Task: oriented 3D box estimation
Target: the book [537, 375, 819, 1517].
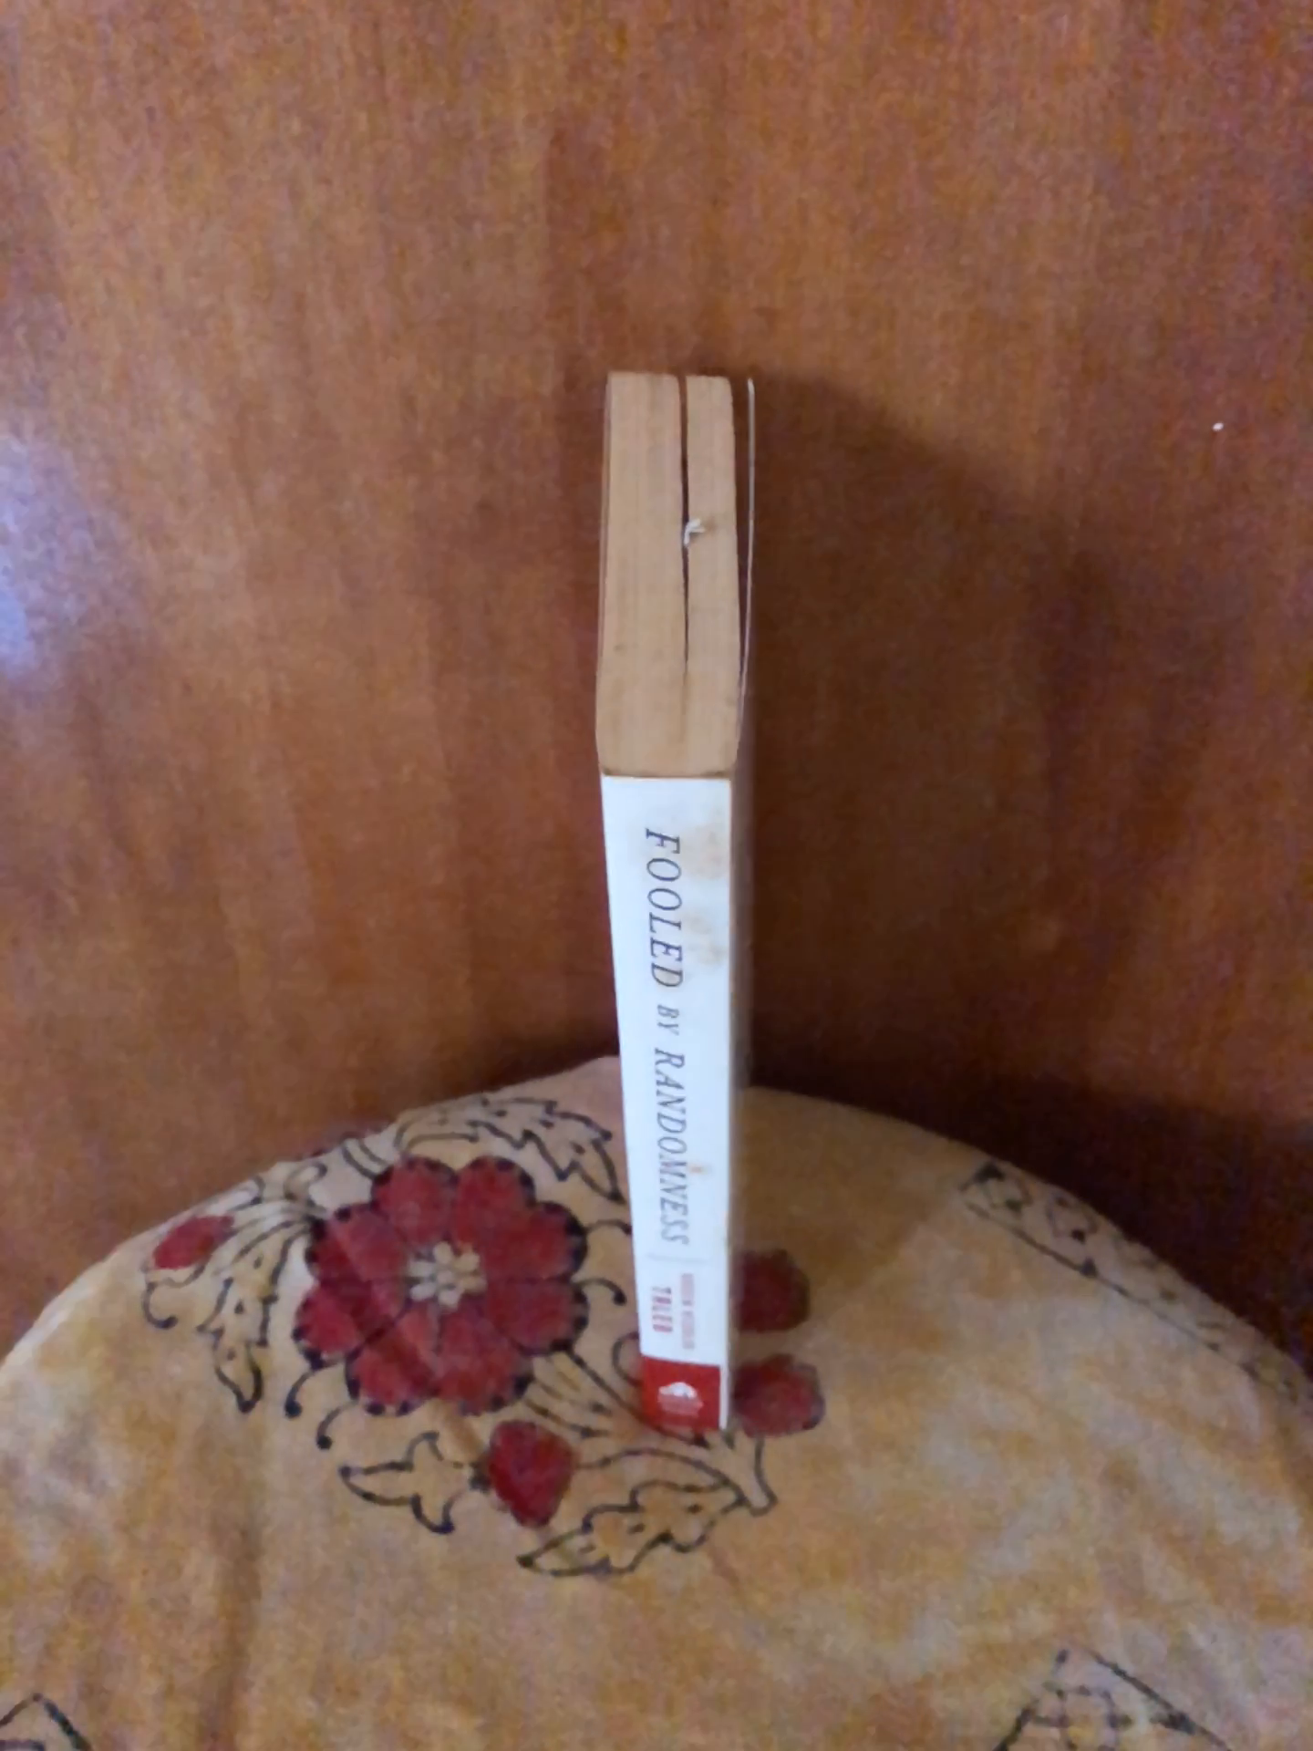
[{"bbox_3d":[0.006,0.014,0.332,0.040,0.199,0.161,3,37,2],"label":"book"}]
